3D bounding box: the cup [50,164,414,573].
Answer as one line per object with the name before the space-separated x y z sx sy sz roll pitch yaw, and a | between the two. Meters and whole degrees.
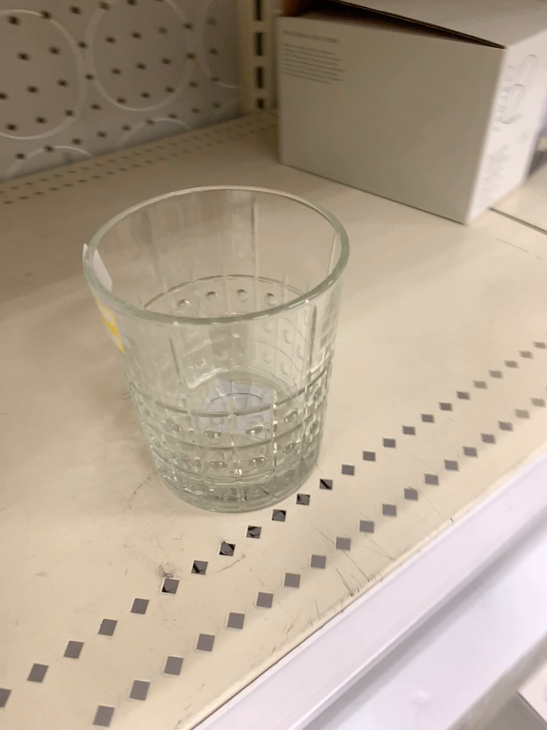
cup | -0.017 -0.002 0.231 0.090 0.109 0.090 0 43 0
